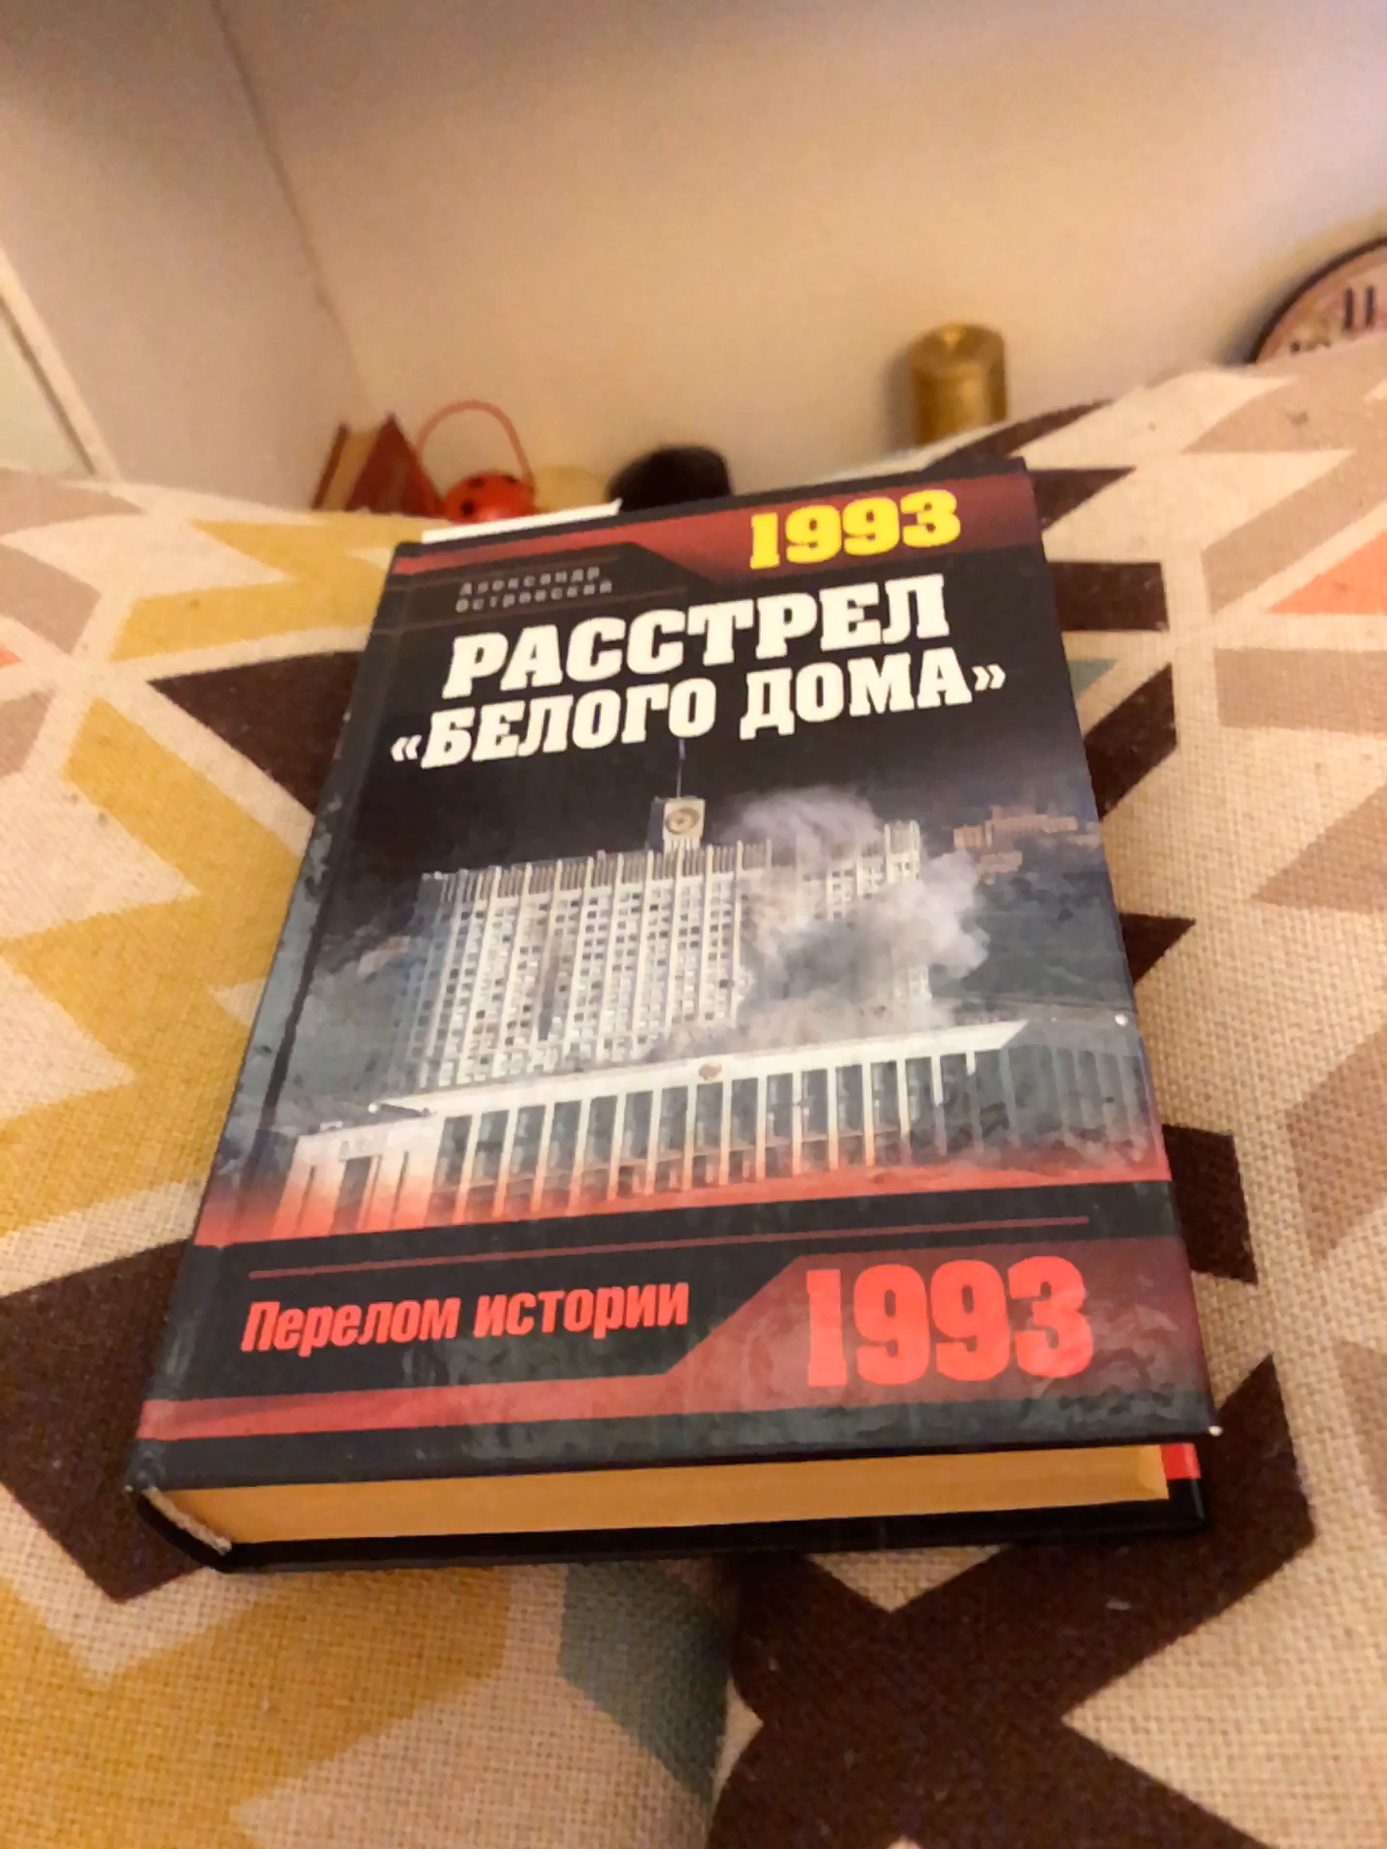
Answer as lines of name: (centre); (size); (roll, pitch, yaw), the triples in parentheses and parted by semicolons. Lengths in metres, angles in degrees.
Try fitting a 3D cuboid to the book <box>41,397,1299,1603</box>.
book: (-0.002, -0.008, 0.250); (0.140, 0.030, 0.211); (-7, 46, 9)
